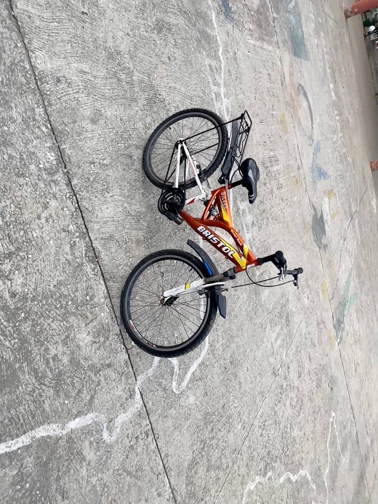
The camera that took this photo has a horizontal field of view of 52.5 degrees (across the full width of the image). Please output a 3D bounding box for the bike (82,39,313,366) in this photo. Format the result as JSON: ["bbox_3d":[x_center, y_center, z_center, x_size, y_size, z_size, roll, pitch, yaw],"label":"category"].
[{"bbox_3d":[0.100,-0.179,2.114,0.587,0.977,1.512,27,62,-52],"label":"bike"}]
